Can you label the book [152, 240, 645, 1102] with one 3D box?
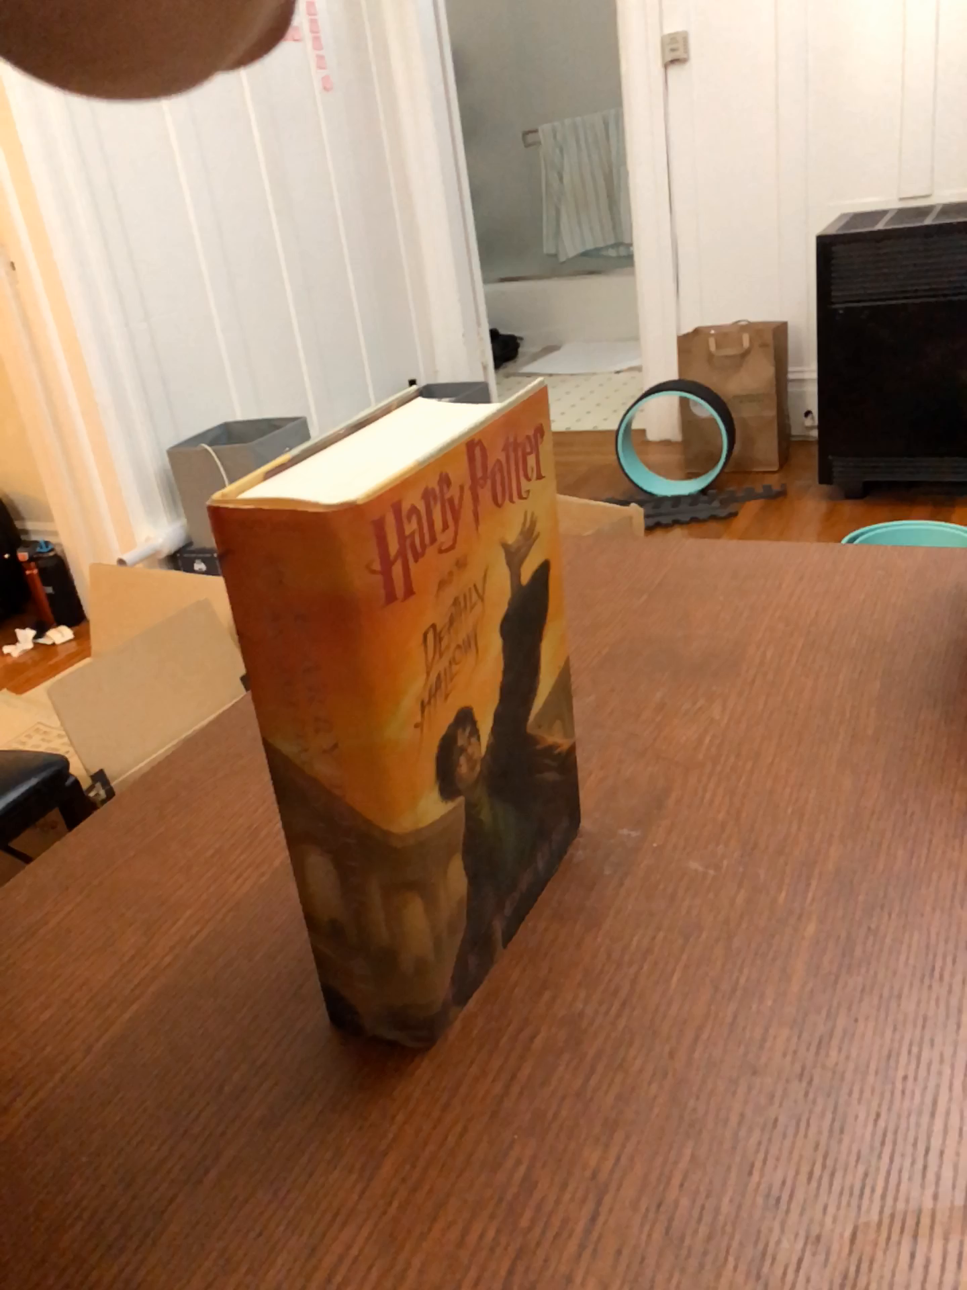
[{"bbox_3d":[-0.007,0.000,0.461,0.070,0.298,0.211,6,29,27],"label":"book"}]
